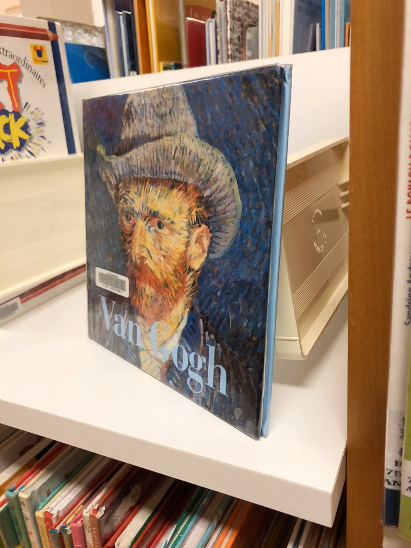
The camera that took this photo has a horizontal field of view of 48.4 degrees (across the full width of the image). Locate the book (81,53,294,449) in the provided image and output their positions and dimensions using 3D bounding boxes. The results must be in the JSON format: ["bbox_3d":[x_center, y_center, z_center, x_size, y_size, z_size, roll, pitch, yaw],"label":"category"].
[{"bbox_3d":[-0.031,-0.021,0.305,0.013,0.198,0.200,-7,14,-40],"label":"book"}]
